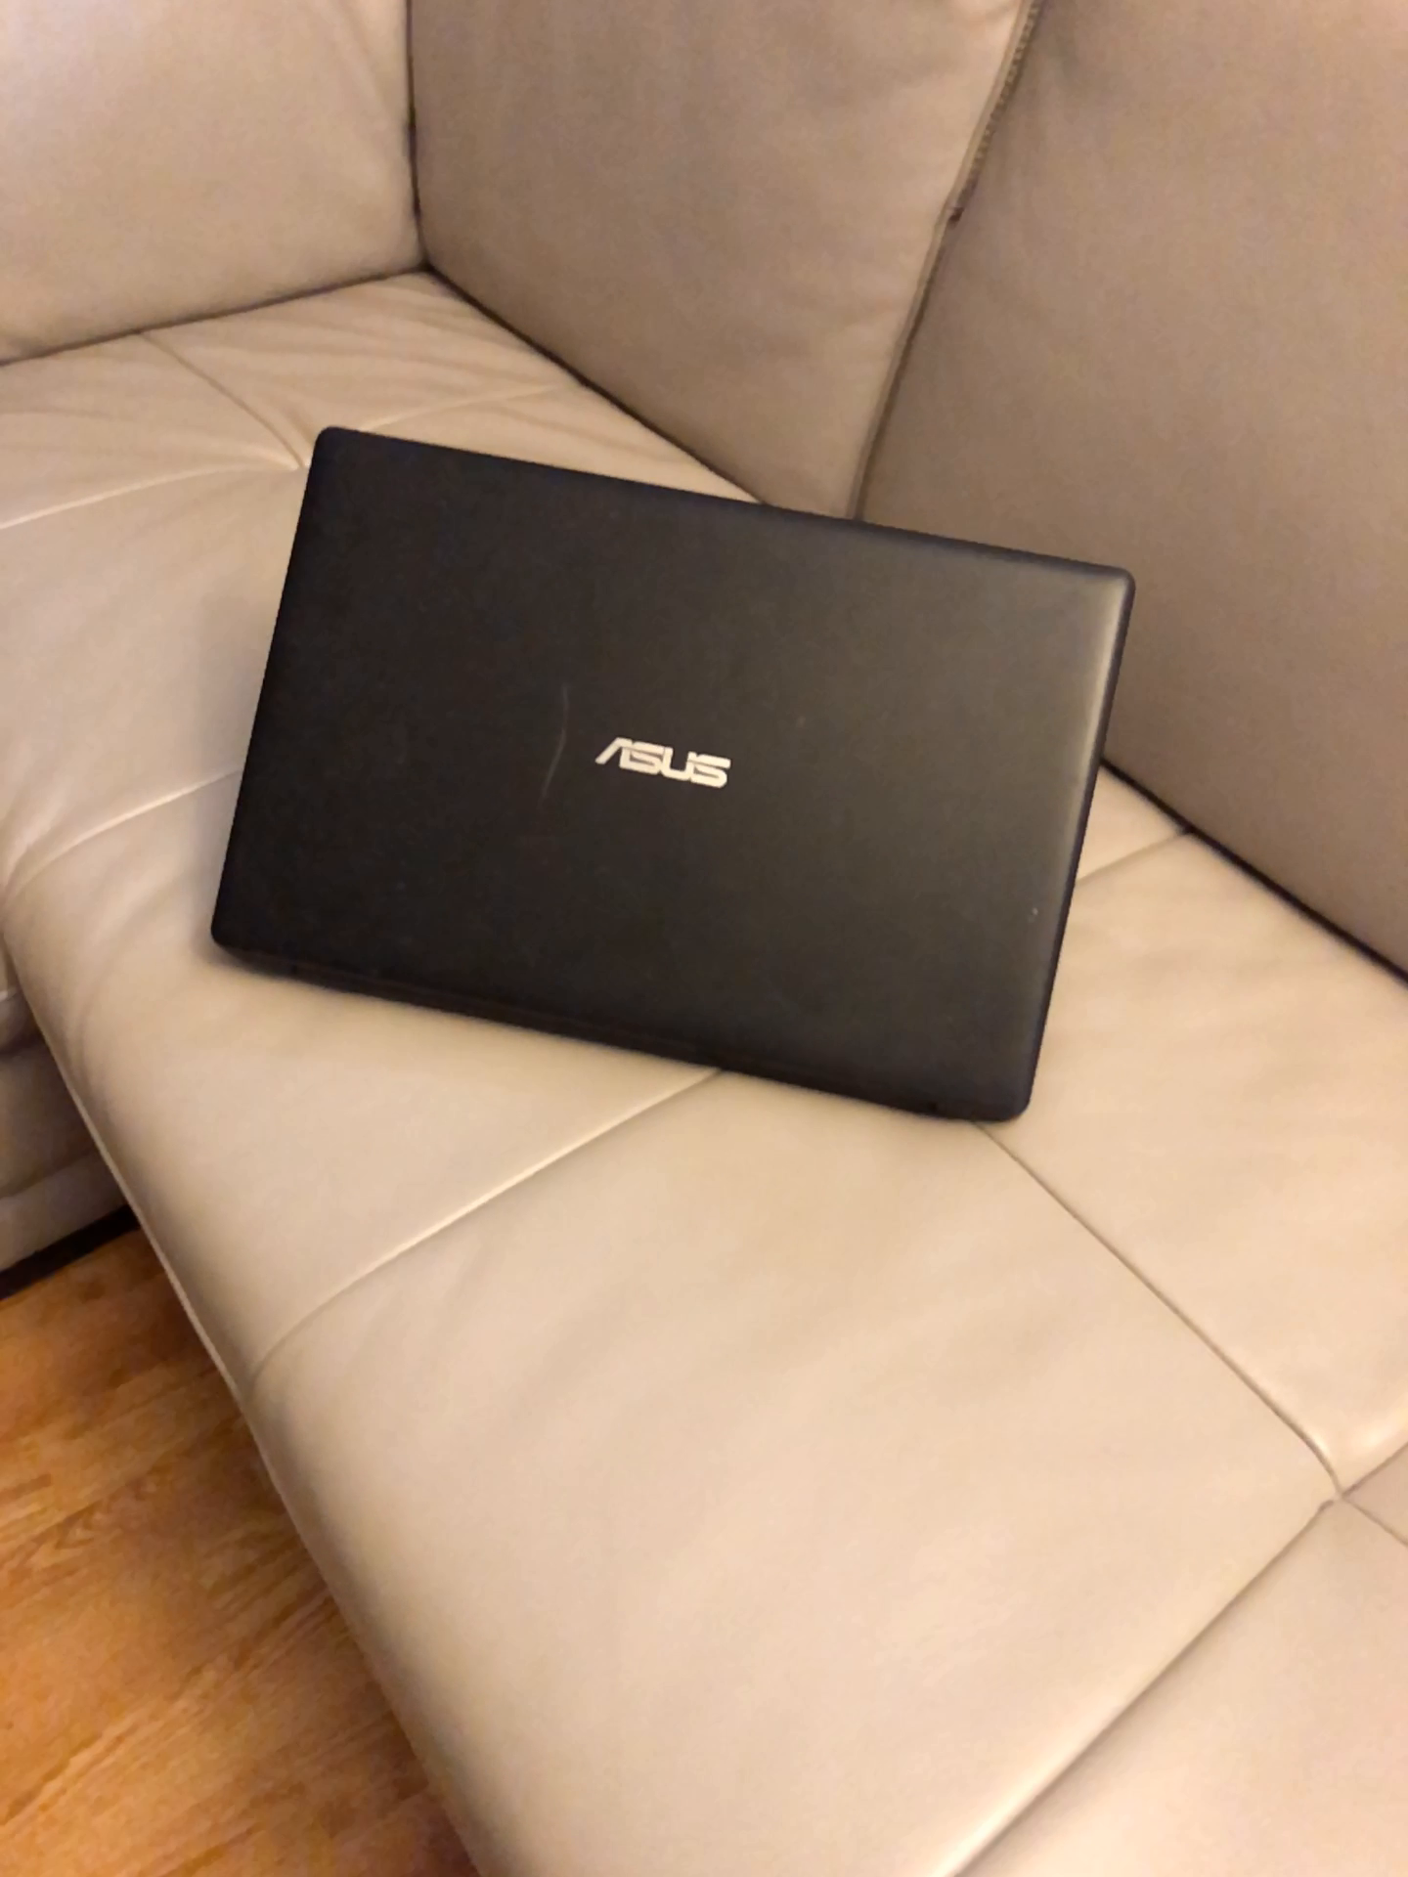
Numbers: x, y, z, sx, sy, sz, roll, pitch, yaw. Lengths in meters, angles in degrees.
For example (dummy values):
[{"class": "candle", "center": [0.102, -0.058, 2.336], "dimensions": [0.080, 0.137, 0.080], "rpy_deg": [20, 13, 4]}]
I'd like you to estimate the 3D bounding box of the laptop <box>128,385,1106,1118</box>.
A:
[{"class": "laptop", "center": [-0.019, -0.098, 0.719], "dimensions": [0.370, 0.155, 0.243], "rpy_deg": [12, 47, 7]}]
